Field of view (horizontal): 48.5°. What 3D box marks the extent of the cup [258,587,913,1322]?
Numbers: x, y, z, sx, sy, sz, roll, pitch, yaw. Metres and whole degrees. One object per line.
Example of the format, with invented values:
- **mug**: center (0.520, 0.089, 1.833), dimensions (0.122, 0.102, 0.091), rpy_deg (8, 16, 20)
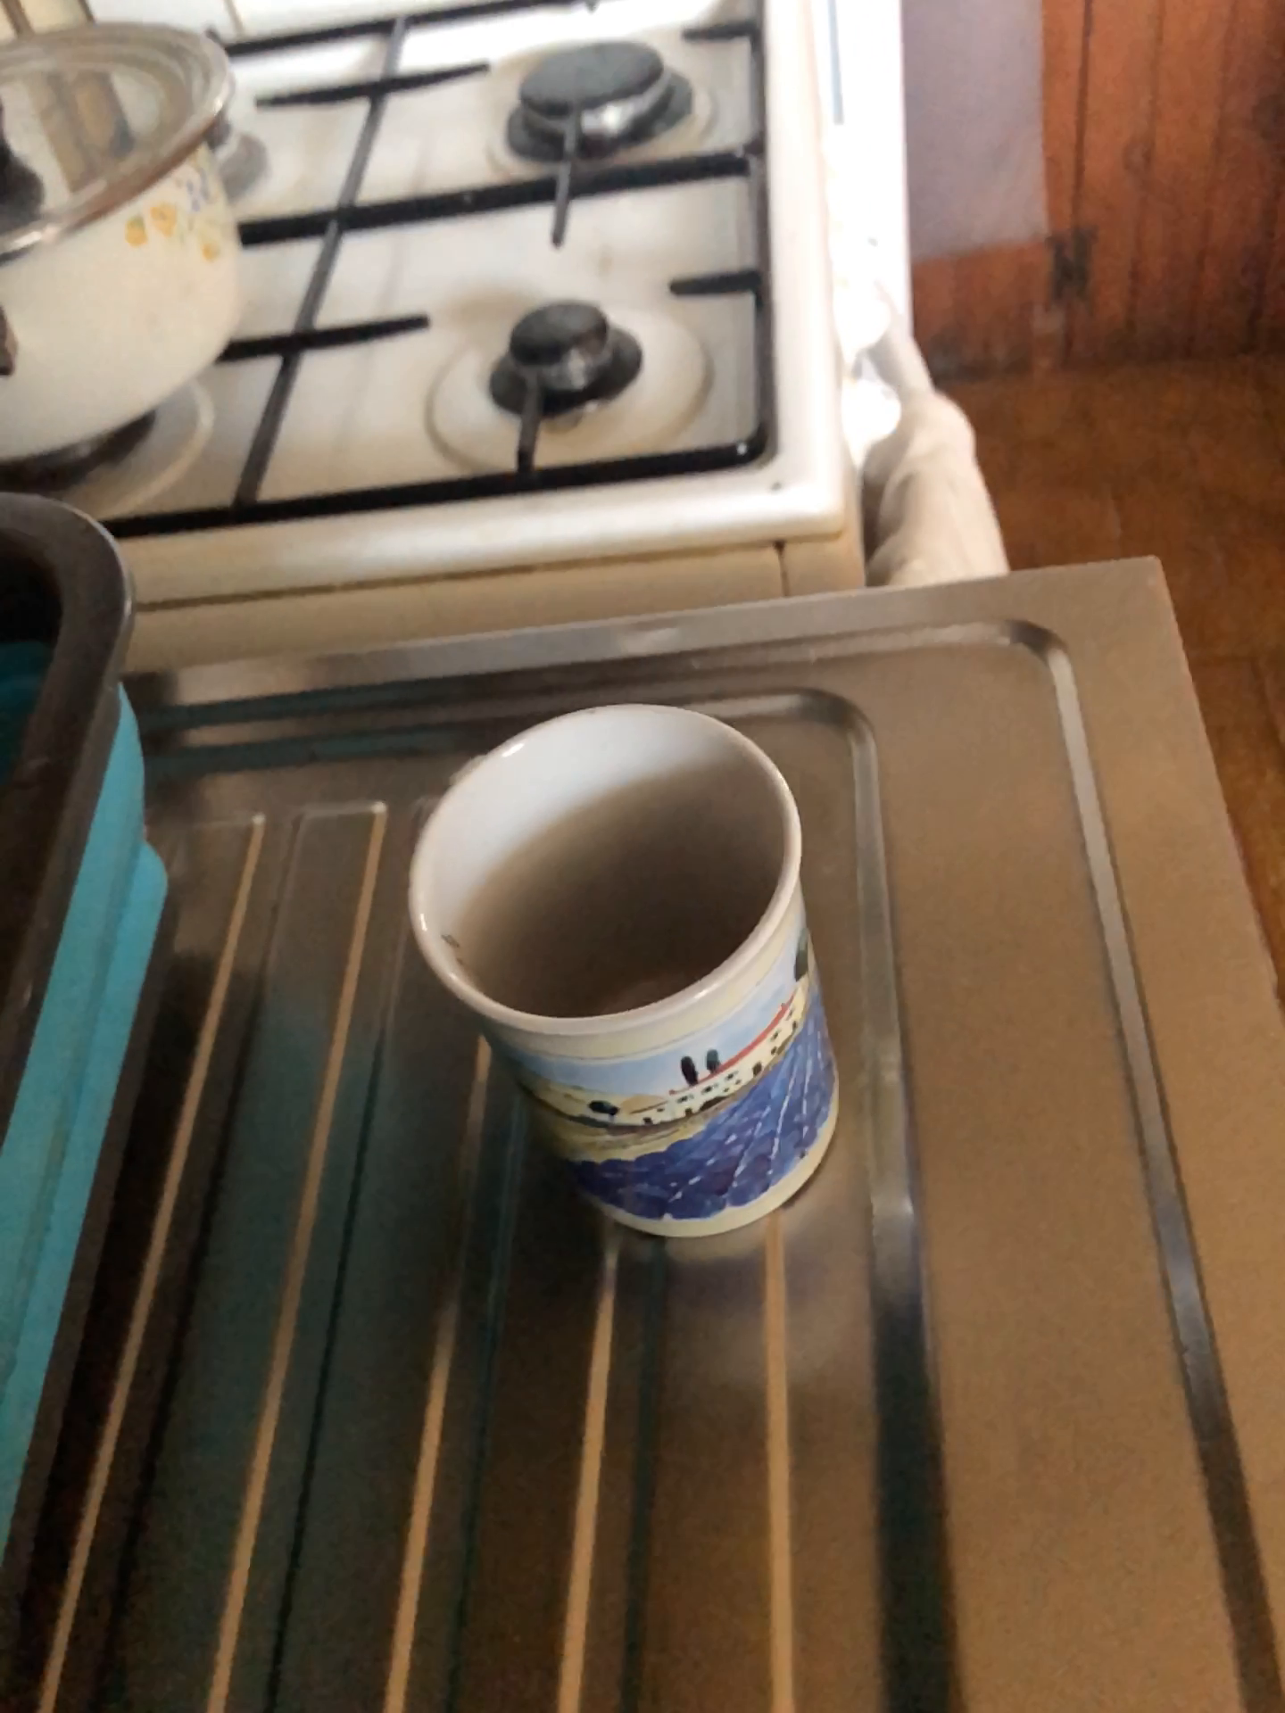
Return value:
- **cup**: center (-0.008, 0.020, 0.311), dimensions (0.070, 0.099, 0.110), rpy_deg (-40, 54, -18)
